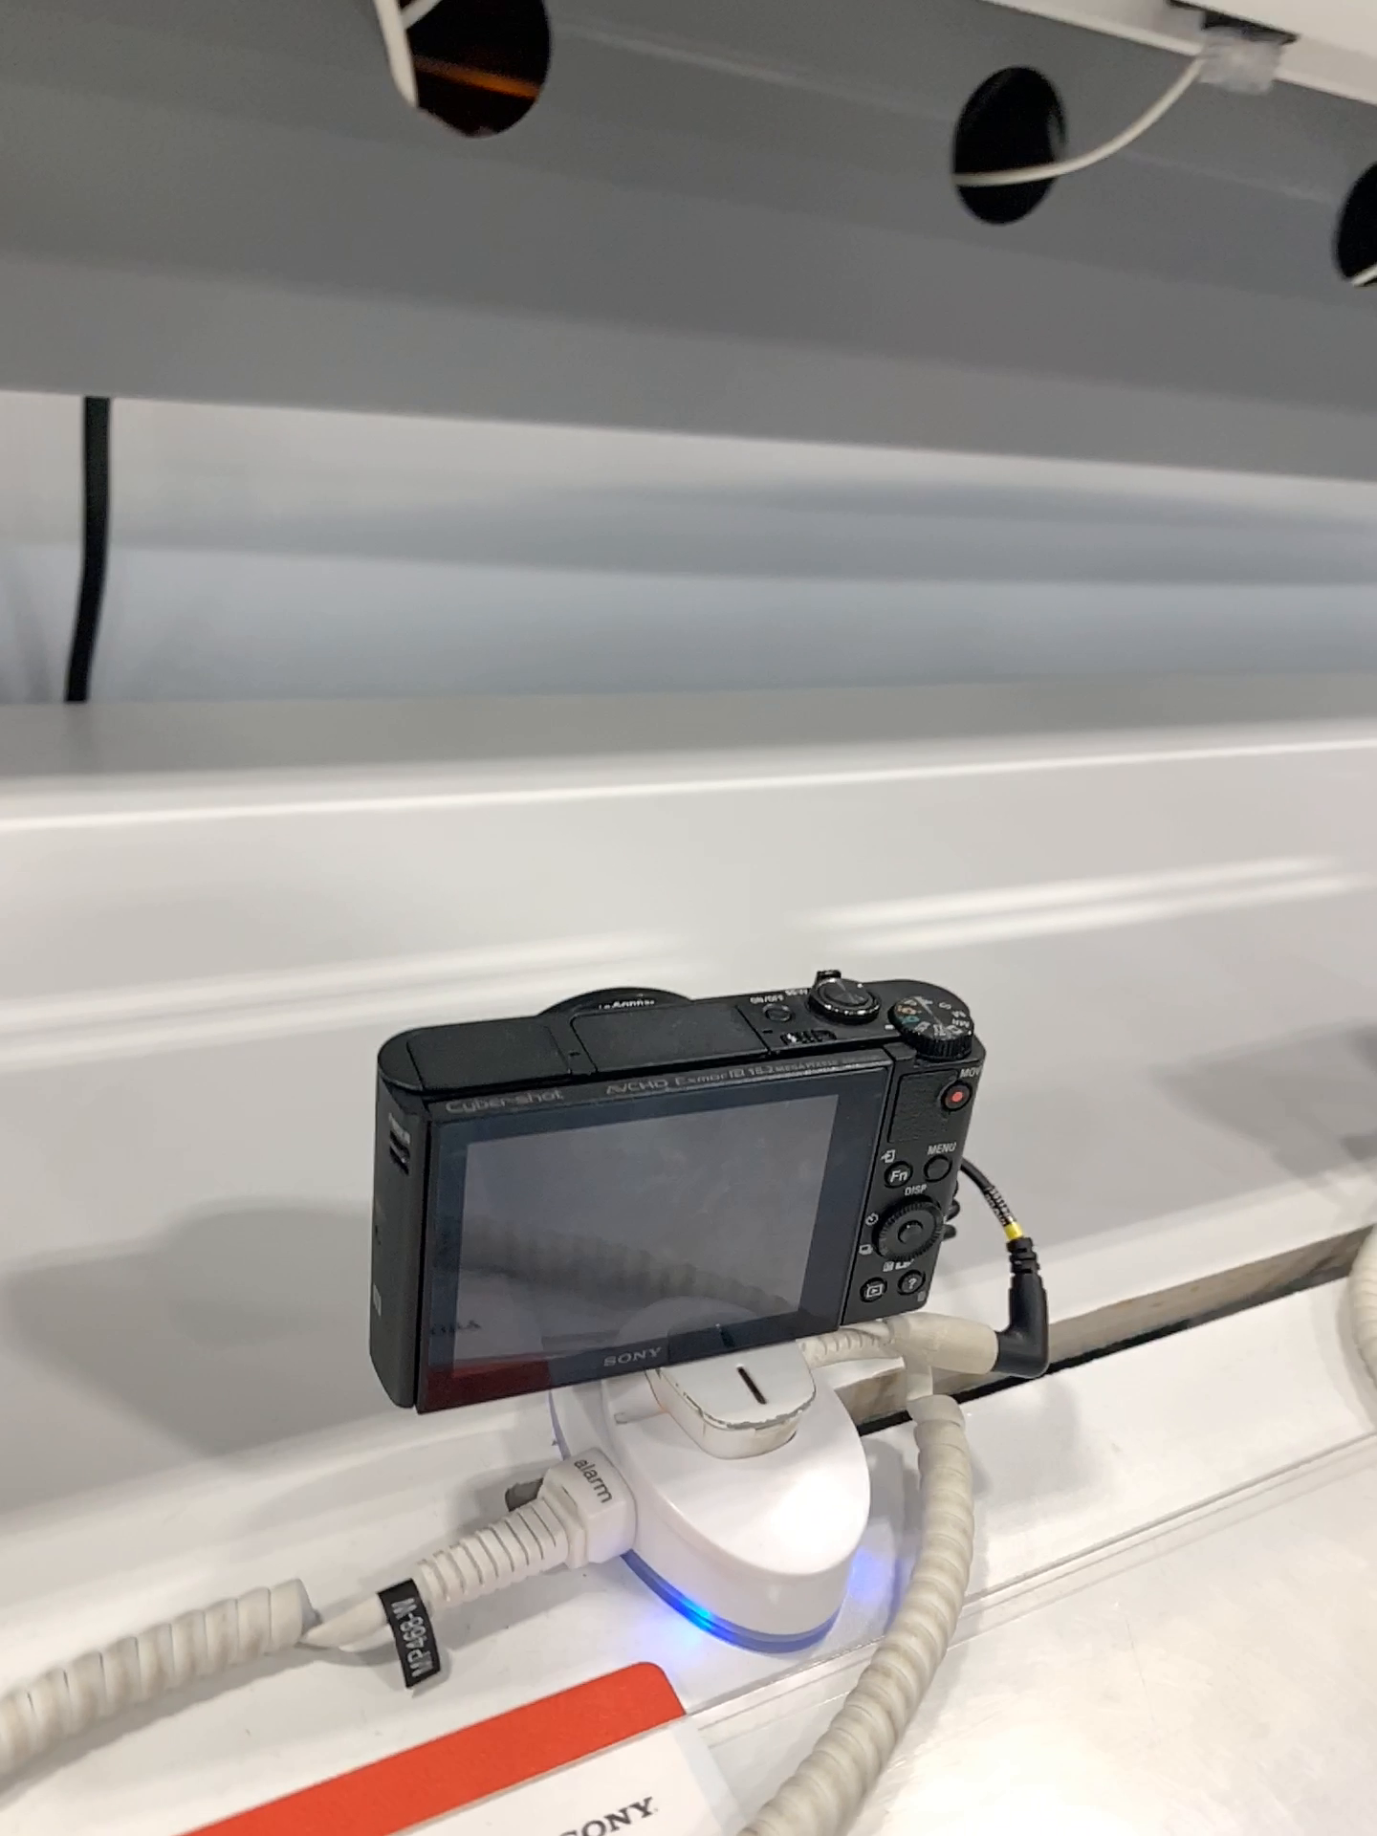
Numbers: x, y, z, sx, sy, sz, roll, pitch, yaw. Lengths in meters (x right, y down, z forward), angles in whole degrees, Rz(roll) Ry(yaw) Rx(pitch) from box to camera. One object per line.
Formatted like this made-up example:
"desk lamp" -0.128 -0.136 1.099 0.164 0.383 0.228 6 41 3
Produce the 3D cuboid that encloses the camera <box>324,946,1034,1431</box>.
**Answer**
"camera" -0.003 0.040 0.238 0.104 0.052 0.040 -3 28 -25
